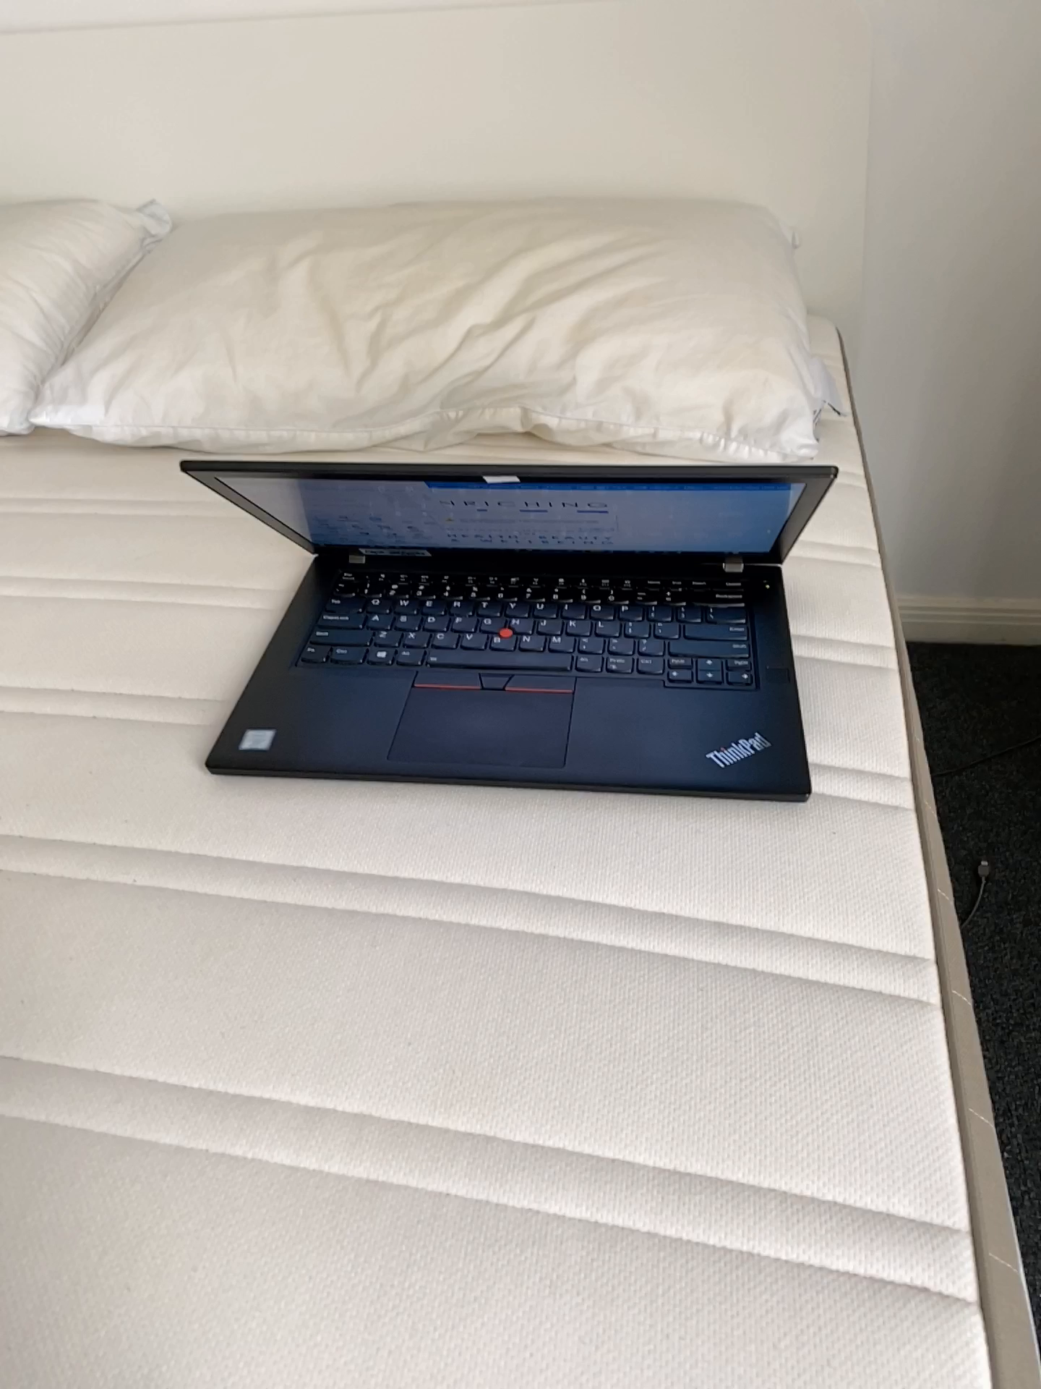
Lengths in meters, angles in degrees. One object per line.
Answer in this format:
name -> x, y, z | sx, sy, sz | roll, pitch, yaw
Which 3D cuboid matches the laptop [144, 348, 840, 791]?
laptop -> -0.001, -0.083, 0.619 | 0.324, 0.150, 0.221 | 1, 39, 7
